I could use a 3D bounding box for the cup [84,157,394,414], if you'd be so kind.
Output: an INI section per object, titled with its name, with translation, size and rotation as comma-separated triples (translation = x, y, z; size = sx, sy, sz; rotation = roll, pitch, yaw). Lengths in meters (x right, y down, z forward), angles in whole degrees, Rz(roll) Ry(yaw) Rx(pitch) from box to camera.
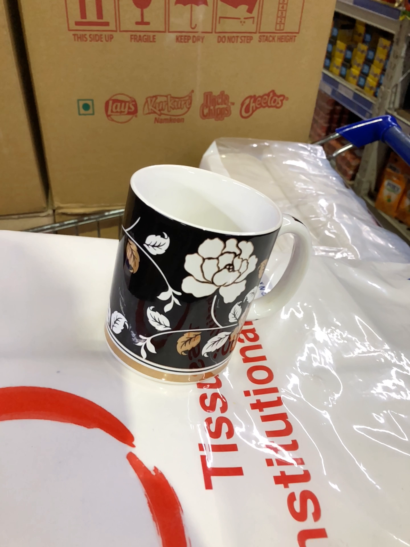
[cup]
translation = 0.013, 0.003, 0.261
size = 0.130, 0.099, 0.080
rotation = -2, 37, -31
